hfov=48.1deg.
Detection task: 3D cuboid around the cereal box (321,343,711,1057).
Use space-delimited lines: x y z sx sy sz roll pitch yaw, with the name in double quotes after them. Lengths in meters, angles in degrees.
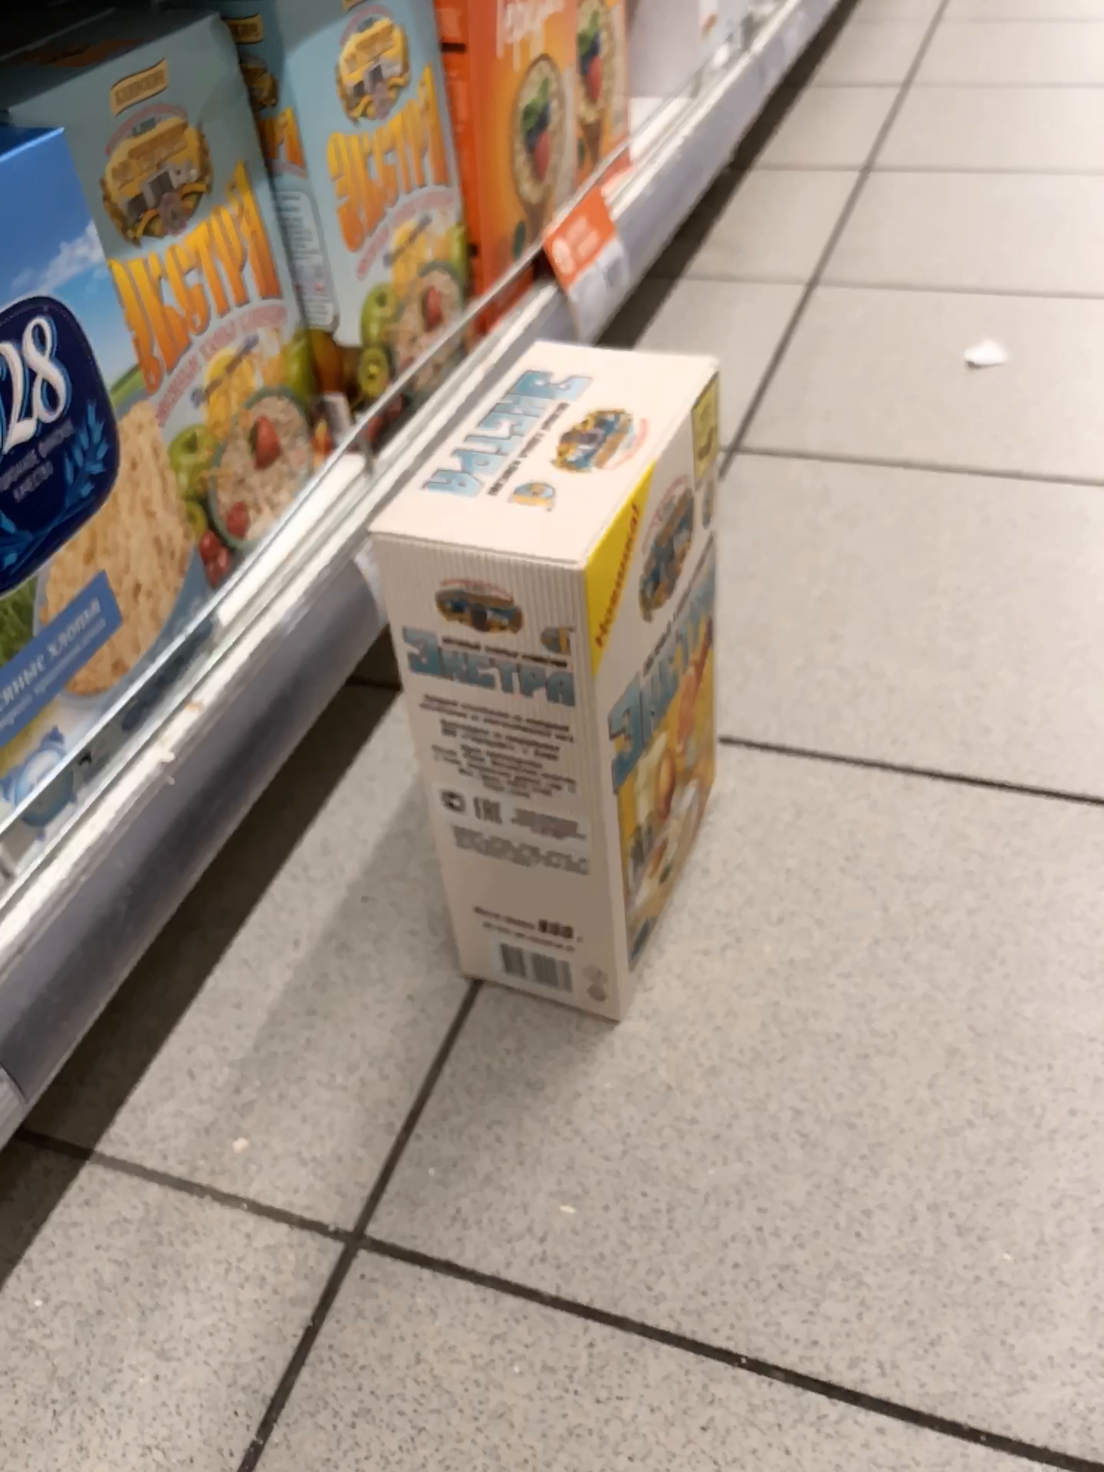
0.004 -0.011 0.503 0.080 0.239 0.151 11 44 20 "cereal box"
